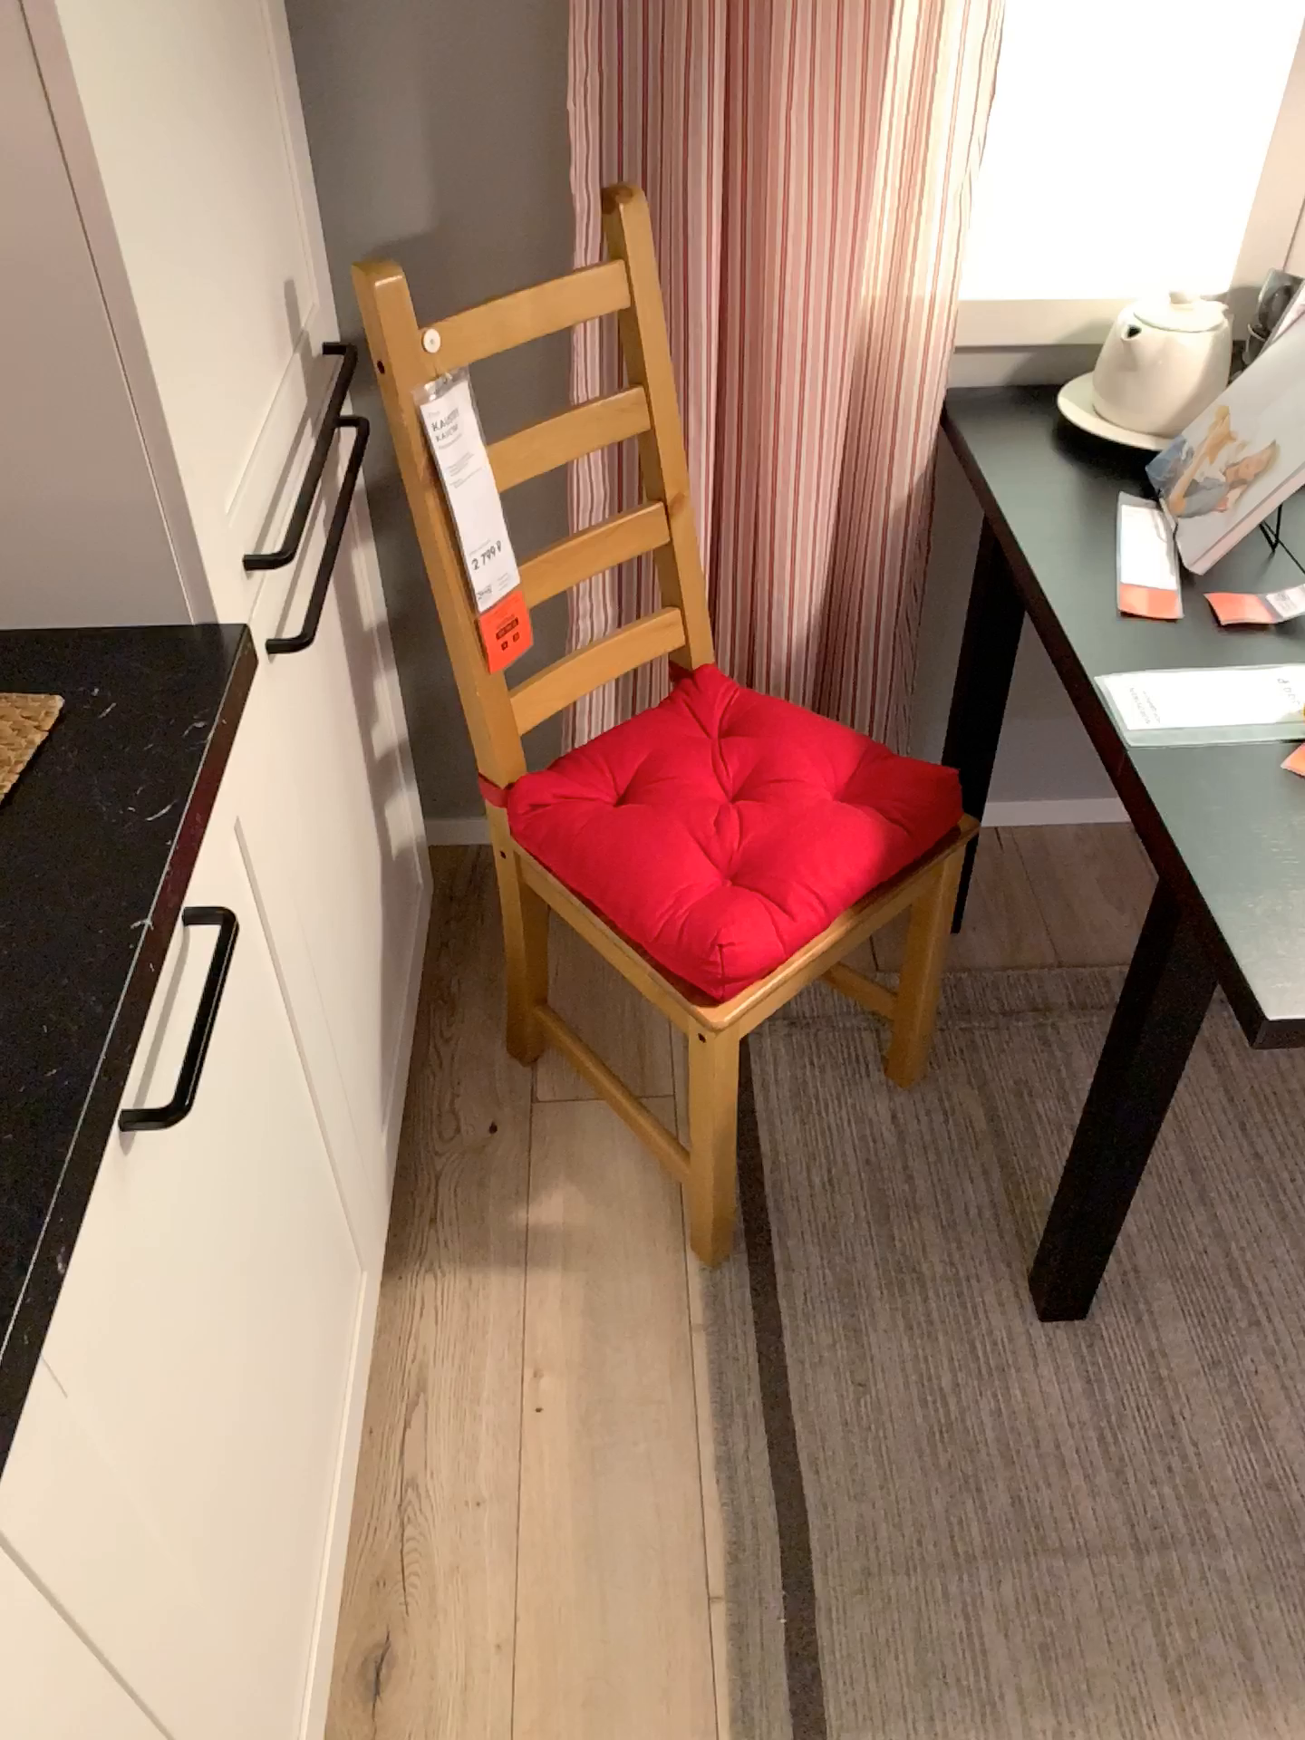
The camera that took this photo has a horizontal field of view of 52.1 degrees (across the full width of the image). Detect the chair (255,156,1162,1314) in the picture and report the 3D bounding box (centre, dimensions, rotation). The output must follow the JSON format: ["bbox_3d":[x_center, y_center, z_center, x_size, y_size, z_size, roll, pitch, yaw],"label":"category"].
[{"bbox_3d":[0.045,-0.120,1.473,0.581,1.014,0.502,33,52,30],"label":"chair"}]
